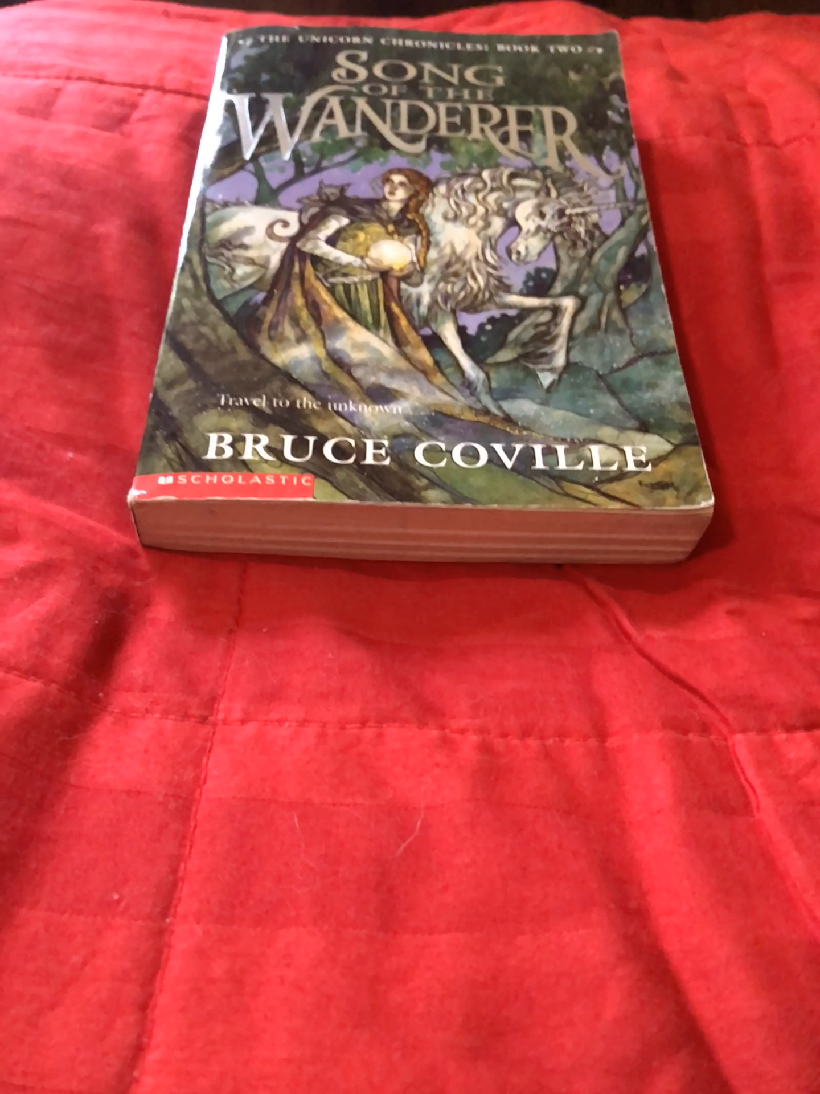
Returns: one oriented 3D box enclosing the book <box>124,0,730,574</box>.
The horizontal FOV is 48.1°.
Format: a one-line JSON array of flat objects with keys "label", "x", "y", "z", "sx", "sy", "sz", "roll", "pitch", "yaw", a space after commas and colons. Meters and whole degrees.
[{"label": "book", "x": 0.004, "y": -0.084, "z": 0.258, "sx": 0.130, "sy": 0.030, "sz": 0.191, "roll": 1, "pitch": 60, "yaw": 0}]
